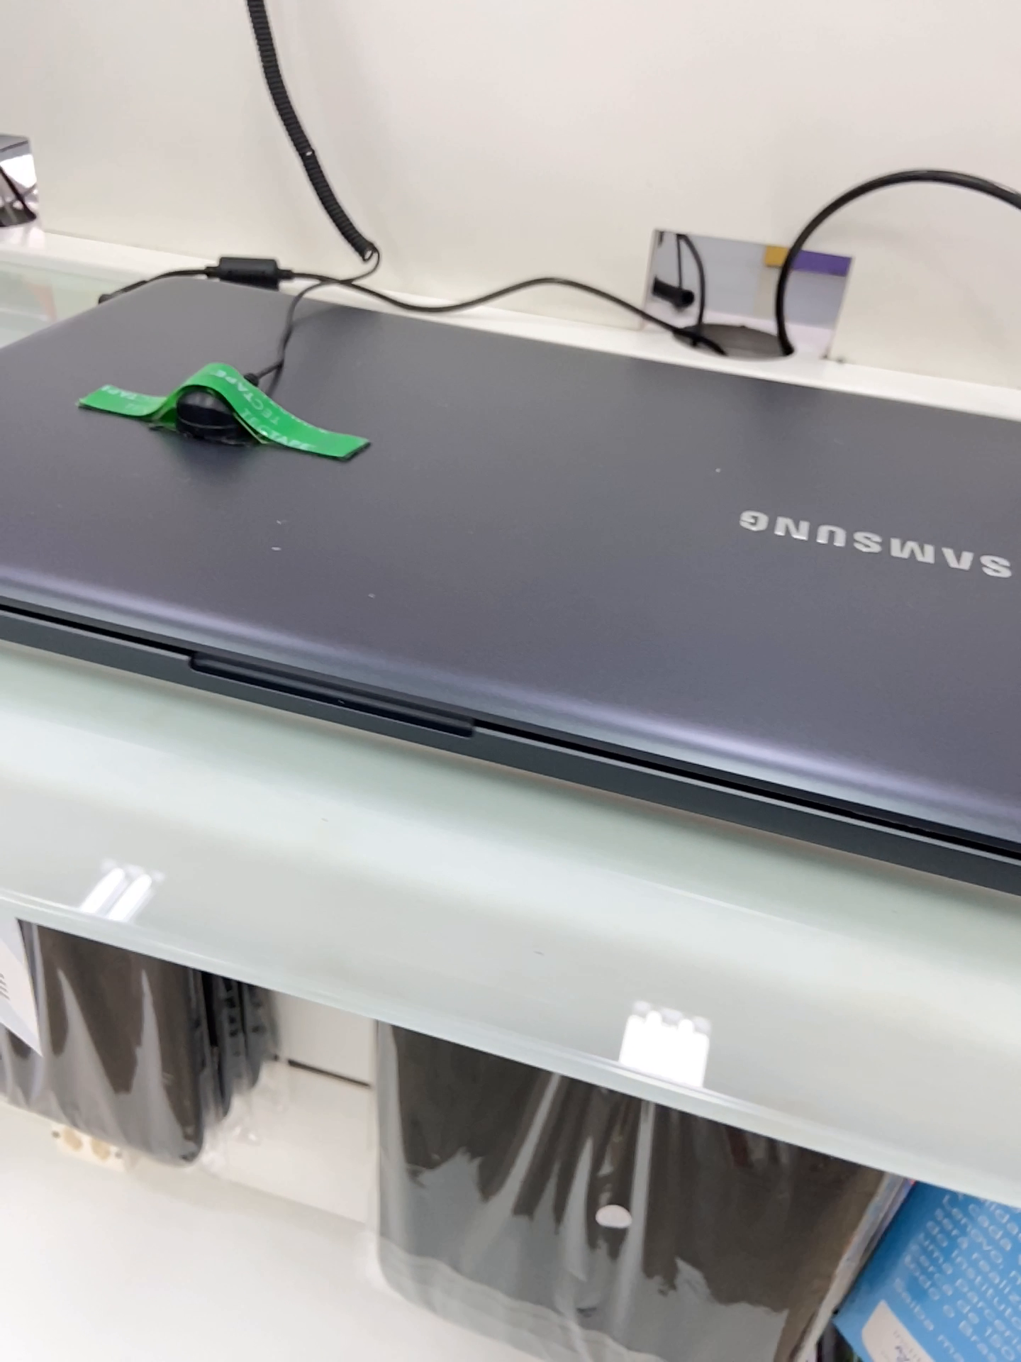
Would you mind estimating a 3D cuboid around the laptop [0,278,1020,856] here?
[{"bbox_3d":[-0.008,-0.069,0.329,0.350,0.001,0.234,13,37,10],"label":"laptop"}]
